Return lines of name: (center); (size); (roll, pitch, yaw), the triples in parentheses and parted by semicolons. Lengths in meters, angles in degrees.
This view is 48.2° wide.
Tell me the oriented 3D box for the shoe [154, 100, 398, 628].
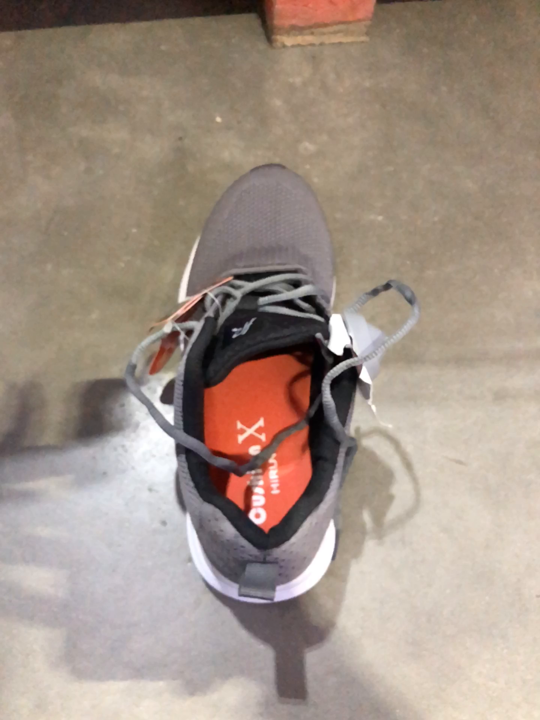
shoe: (-0.009, -0.009, 0.386); (0.110, 0.100, 0.321); (-3, 64, -3)
